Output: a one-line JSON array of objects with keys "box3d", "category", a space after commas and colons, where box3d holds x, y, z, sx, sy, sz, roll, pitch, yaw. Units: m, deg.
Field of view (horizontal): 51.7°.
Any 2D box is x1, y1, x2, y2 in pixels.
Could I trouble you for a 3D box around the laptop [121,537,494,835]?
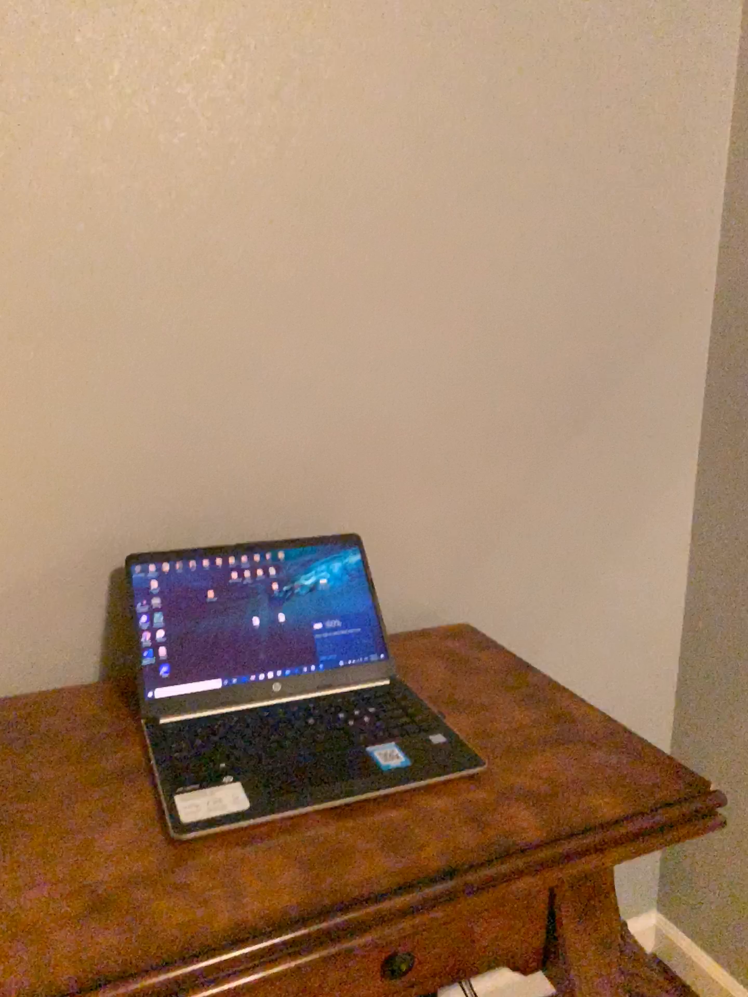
[{"box3d": [-0.101, 0.174, 0.885, 0.317, 0.152, 0.368, -3, 12, -23], "category": "laptop"}]
